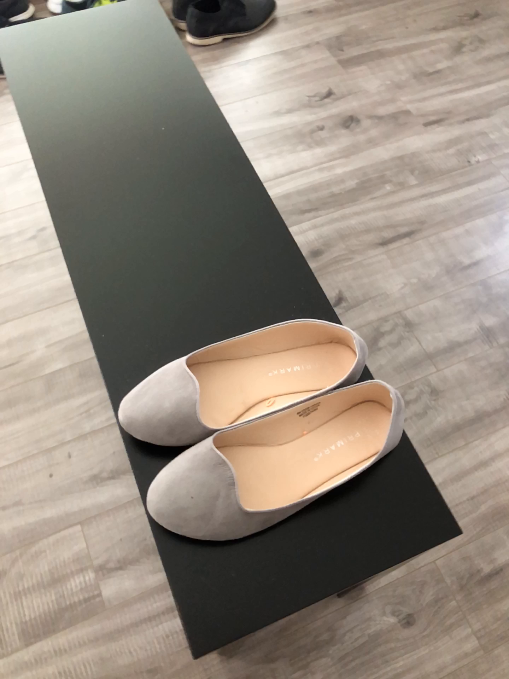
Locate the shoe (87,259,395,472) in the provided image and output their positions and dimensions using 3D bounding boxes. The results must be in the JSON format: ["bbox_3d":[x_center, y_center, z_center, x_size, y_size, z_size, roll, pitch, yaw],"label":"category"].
[{"bbox_3d":[-0.013,0.023,0.535,0.253,0.090,0.100,-18,63,-11],"label":"shoe"}]

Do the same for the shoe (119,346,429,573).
[{"bbox_3d":[0.018,0.104,0.513,0.250,0.060,0.100,-21,63,-13],"label":"shoe"}]
